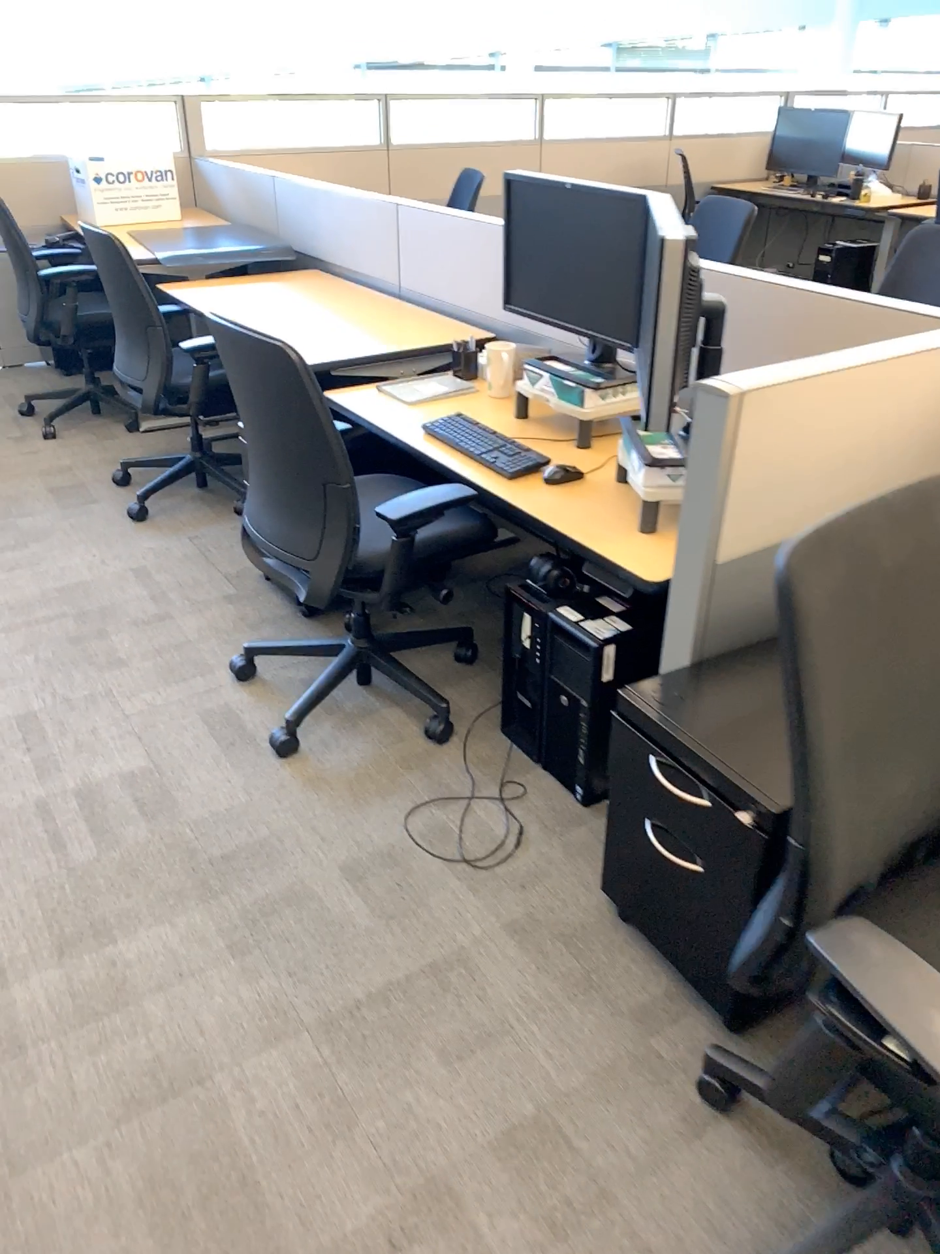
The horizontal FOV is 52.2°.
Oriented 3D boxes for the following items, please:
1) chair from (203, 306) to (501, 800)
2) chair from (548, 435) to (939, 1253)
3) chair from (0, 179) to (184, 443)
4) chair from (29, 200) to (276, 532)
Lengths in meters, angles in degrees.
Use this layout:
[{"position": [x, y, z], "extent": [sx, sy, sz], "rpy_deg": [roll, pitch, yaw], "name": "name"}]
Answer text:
[{"position": [-0.277, -0.195, 2.344], "extent": [0.460, 0.994, 0.543], "rpy_deg": [-17, 34, -27], "name": "chair"}, {"position": [0.591, 0.426, 1.084], "extent": [0.631, 0.994, 0.764], "rpy_deg": [-17, 34, -28], "name": "chair"}, {"position": [-1.712, -1.432, 4.317], "extent": [0.600, 0.994, 0.563], "rpy_deg": [-12, 32, -21], "name": "chair"}, {"position": [-1.123, -0.956, 3.465], "extent": [0.581, 0.994, 0.523], "rpy_deg": [-17, 34, -28], "name": "chair"}]
